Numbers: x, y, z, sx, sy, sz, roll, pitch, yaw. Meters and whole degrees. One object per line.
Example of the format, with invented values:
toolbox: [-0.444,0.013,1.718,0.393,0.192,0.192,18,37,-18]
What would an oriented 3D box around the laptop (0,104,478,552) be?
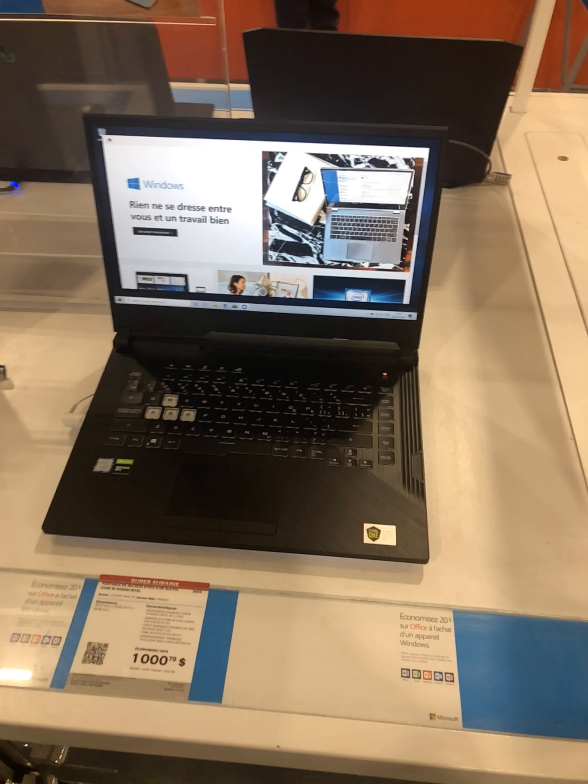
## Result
laptop: [-0.040,-0.074,0.633,0.363,0.236,0.346,3,51,4]
